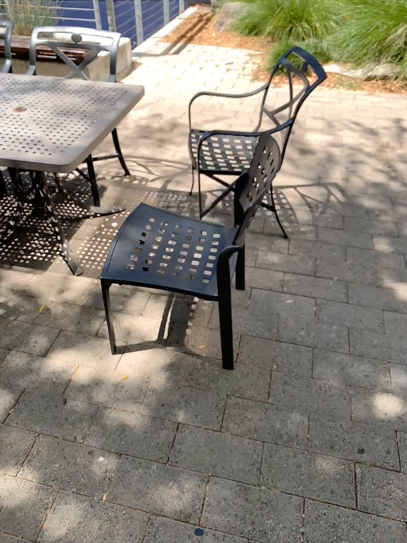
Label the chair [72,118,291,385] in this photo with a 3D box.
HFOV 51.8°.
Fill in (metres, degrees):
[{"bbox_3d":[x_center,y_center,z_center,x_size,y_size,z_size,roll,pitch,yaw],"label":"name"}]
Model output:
[{"bbox_3d":[-0.035,-0.062,1.464,0.550,0.716,0.493,8,42,6],"label":"chair"}]
